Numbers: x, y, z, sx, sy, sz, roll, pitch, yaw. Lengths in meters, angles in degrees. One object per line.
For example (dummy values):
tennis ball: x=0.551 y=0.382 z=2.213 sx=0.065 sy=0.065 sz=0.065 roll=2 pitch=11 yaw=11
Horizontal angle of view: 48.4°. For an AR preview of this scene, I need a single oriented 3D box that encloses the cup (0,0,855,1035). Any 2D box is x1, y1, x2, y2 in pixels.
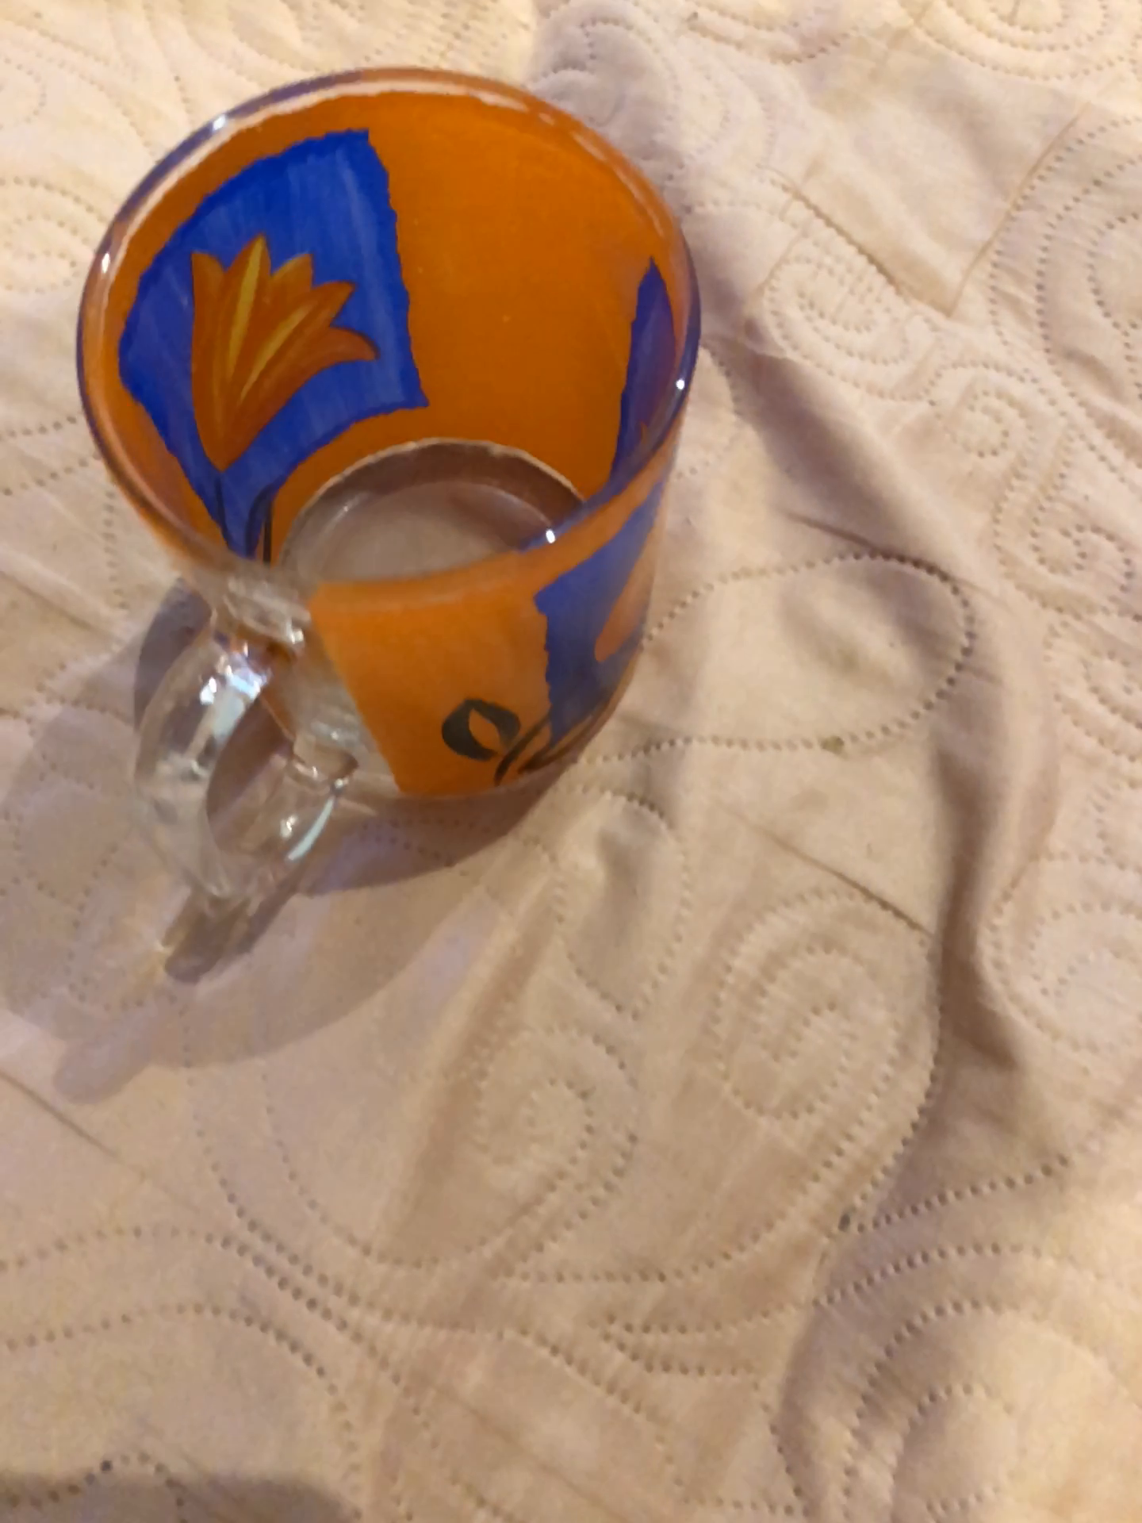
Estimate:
cup: x=-0.025 y=-0.033 z=0.198 sx=0.080 sy=0.090 sz=0.110 roll=28 pitch=72 yaw=10
